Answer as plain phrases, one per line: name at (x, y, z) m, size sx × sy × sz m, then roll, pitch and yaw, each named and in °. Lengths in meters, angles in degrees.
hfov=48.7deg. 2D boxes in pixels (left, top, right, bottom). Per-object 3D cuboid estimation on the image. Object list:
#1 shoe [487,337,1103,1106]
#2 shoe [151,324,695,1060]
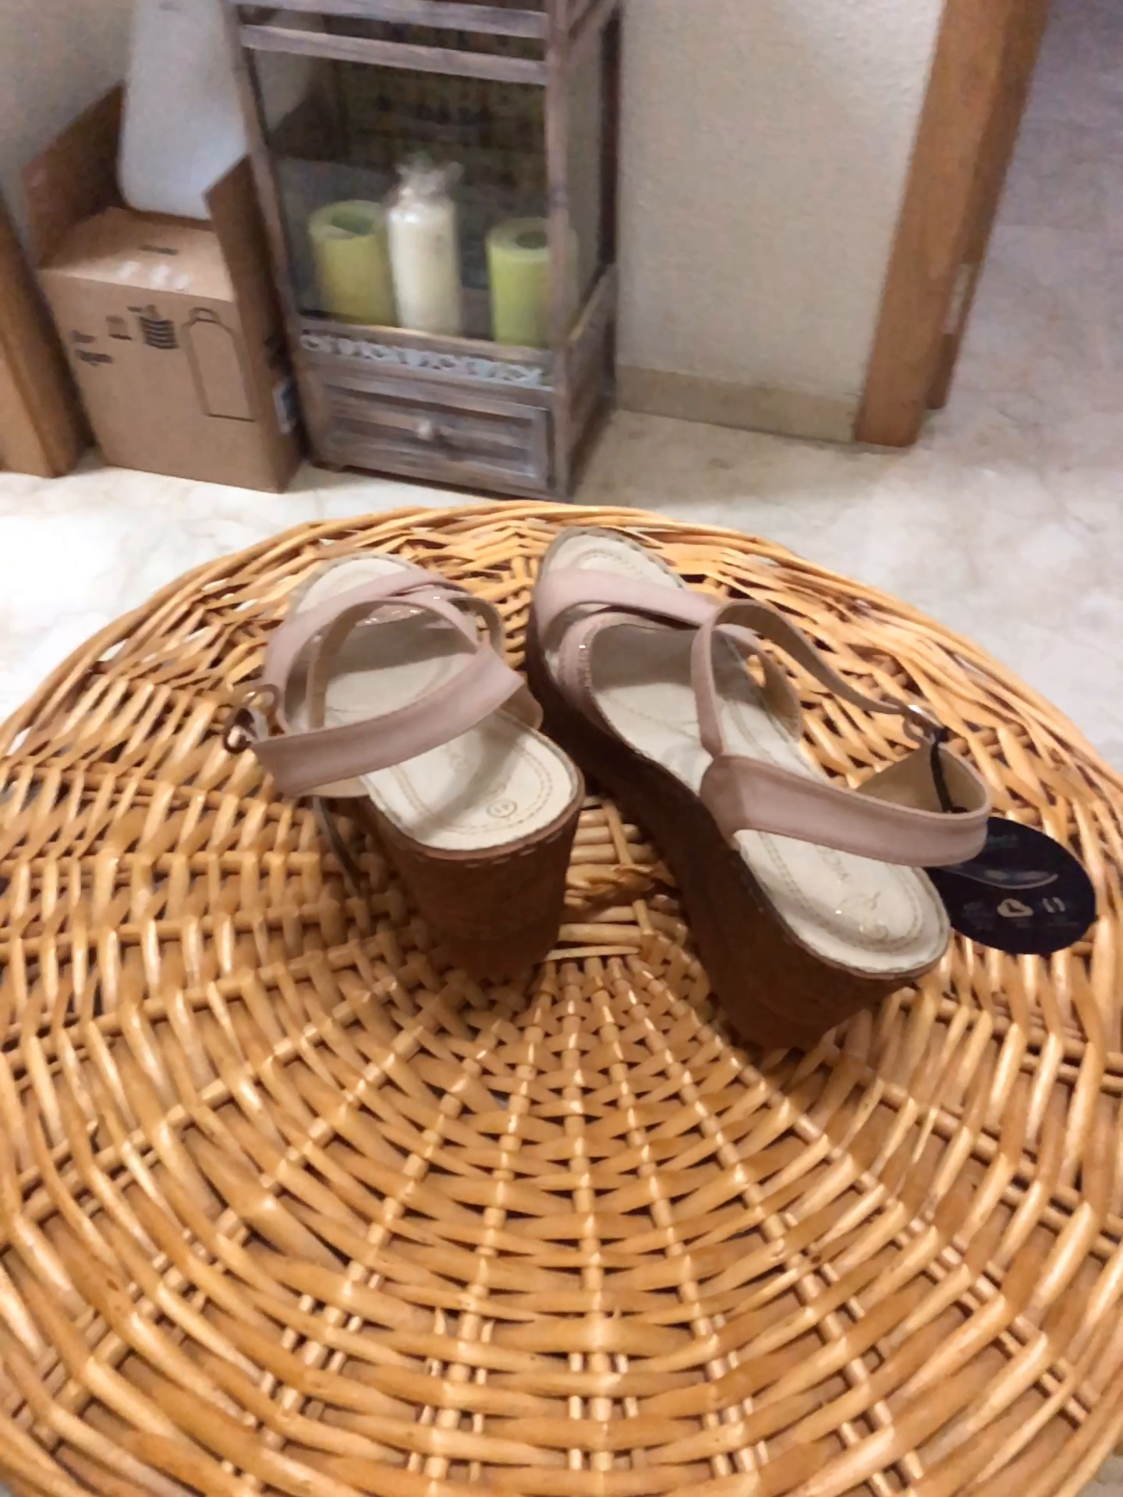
shoe at (0.059, -0.026, 0.447) m, size 0.100 × 0.104 × 0.261 m, roll -14°, pitch 50°, yaw -11°
shoe at (-0.060, -0.036, 0.453) m, size 0.111 × 0.100 × 0.252 m, roll -17°, pitch 51°, yaw -14°
